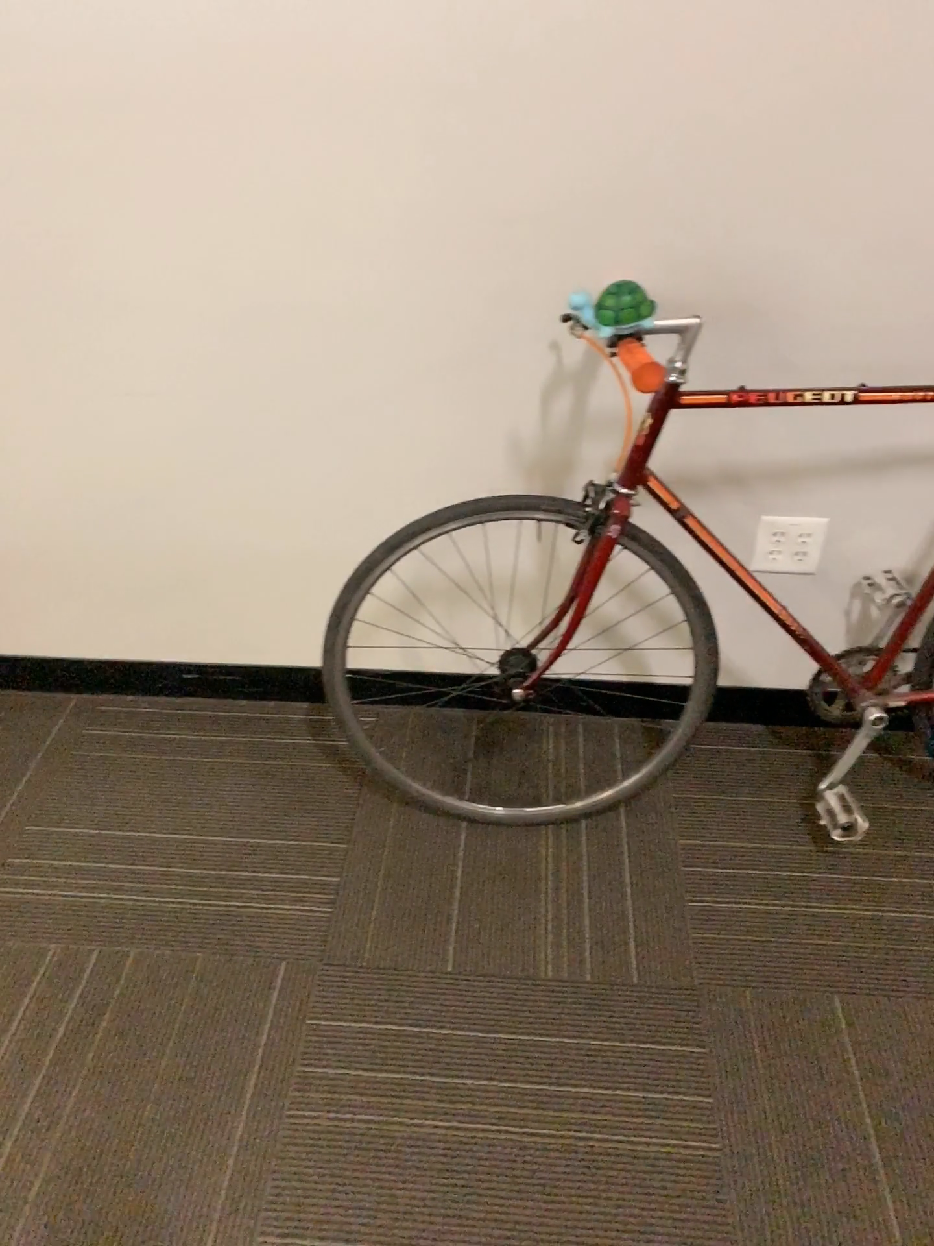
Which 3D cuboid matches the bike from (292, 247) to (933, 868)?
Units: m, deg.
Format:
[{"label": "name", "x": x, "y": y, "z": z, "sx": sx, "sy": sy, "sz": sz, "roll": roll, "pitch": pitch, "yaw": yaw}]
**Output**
[{"label": "bike", "x": 0.589, "y": -0.089, "z": 1.581, "sx": 1.626, "sy": 0.909, "sz": 0.451, "roll": -1, "pitch": 36, "yaw": -2}]
